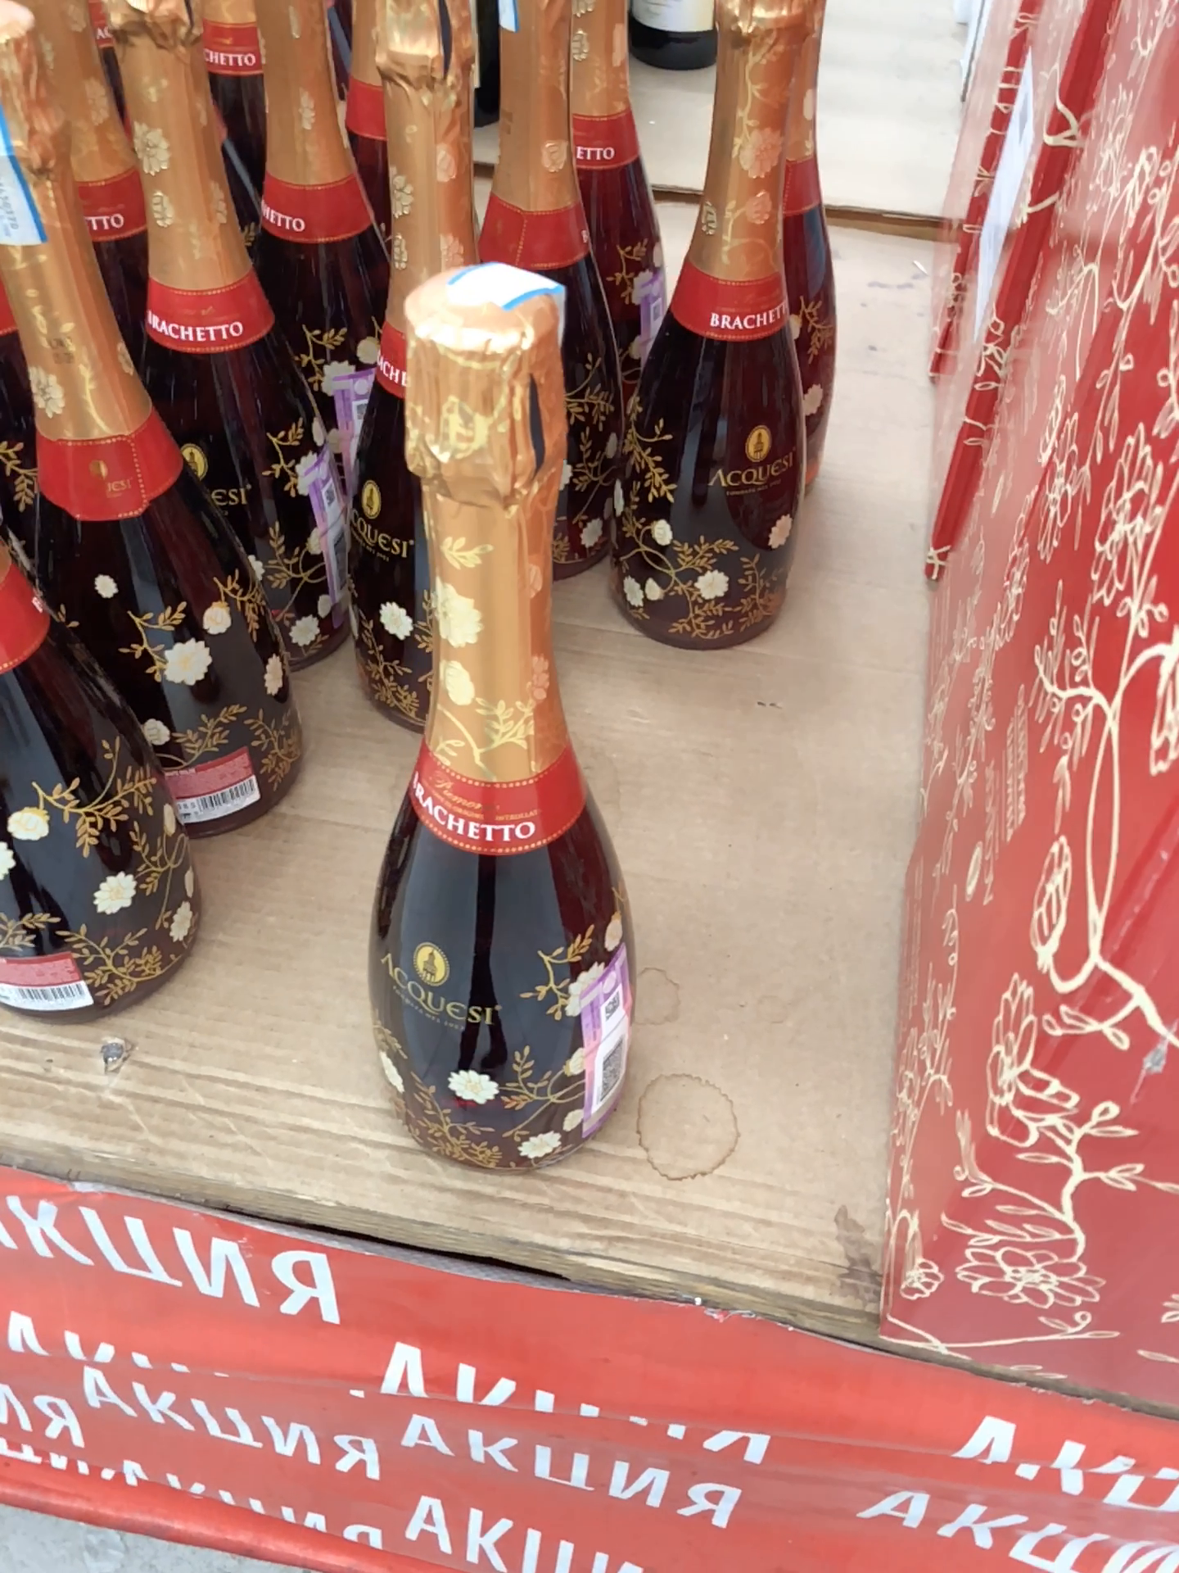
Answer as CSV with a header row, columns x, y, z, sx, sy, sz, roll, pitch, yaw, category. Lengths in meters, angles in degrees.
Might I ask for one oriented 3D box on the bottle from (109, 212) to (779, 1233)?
x,y,z,sx,sy,sz,roll,pitch,yaw,category
-0.031,0.004,0.375,0.100,0.279,0.100,1,48,-1,bottle
